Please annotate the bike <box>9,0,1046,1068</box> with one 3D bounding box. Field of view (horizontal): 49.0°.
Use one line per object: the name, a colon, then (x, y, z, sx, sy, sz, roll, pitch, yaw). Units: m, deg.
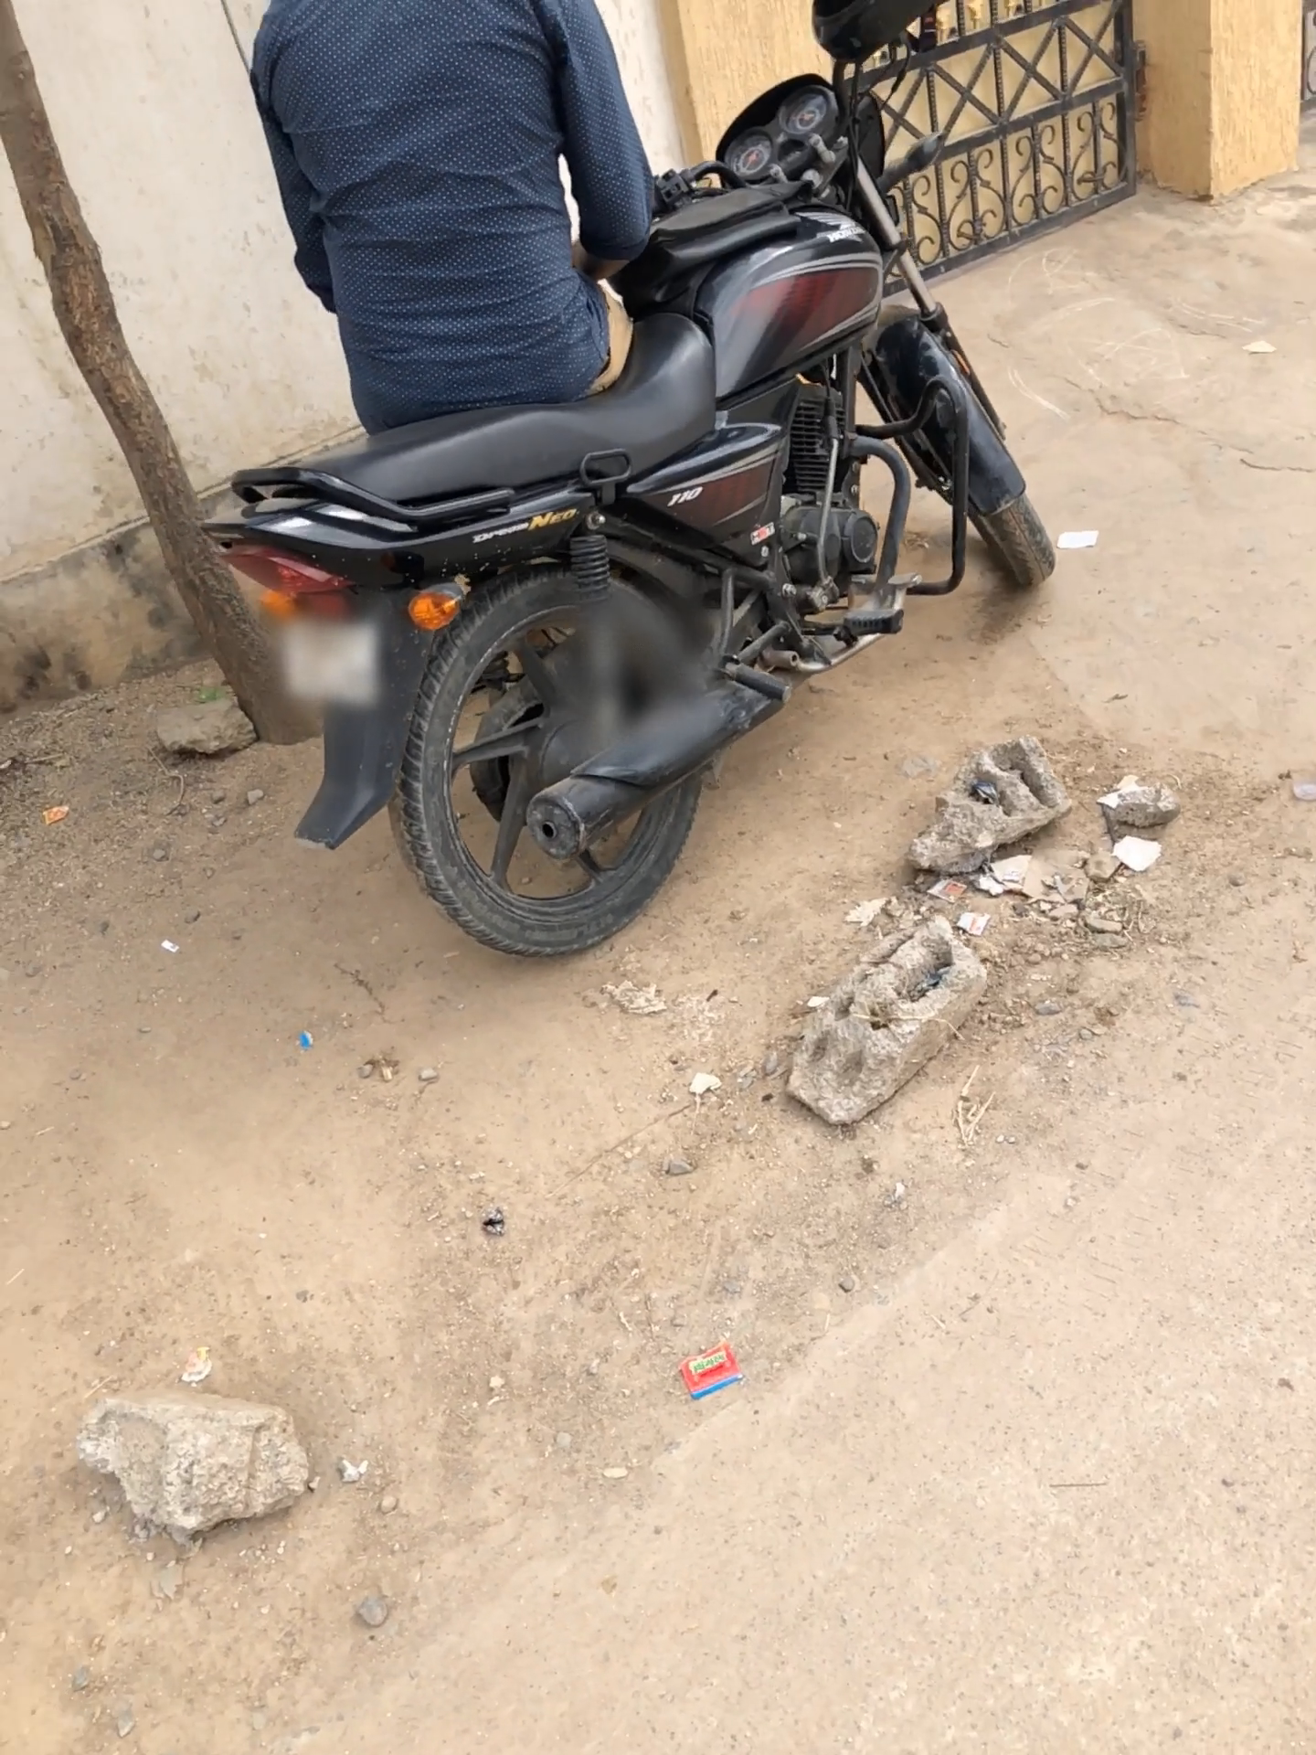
bike: (0.010, -0.735, 2.412, 0.721, 1.070, 1.674, 11, 42, 32)
